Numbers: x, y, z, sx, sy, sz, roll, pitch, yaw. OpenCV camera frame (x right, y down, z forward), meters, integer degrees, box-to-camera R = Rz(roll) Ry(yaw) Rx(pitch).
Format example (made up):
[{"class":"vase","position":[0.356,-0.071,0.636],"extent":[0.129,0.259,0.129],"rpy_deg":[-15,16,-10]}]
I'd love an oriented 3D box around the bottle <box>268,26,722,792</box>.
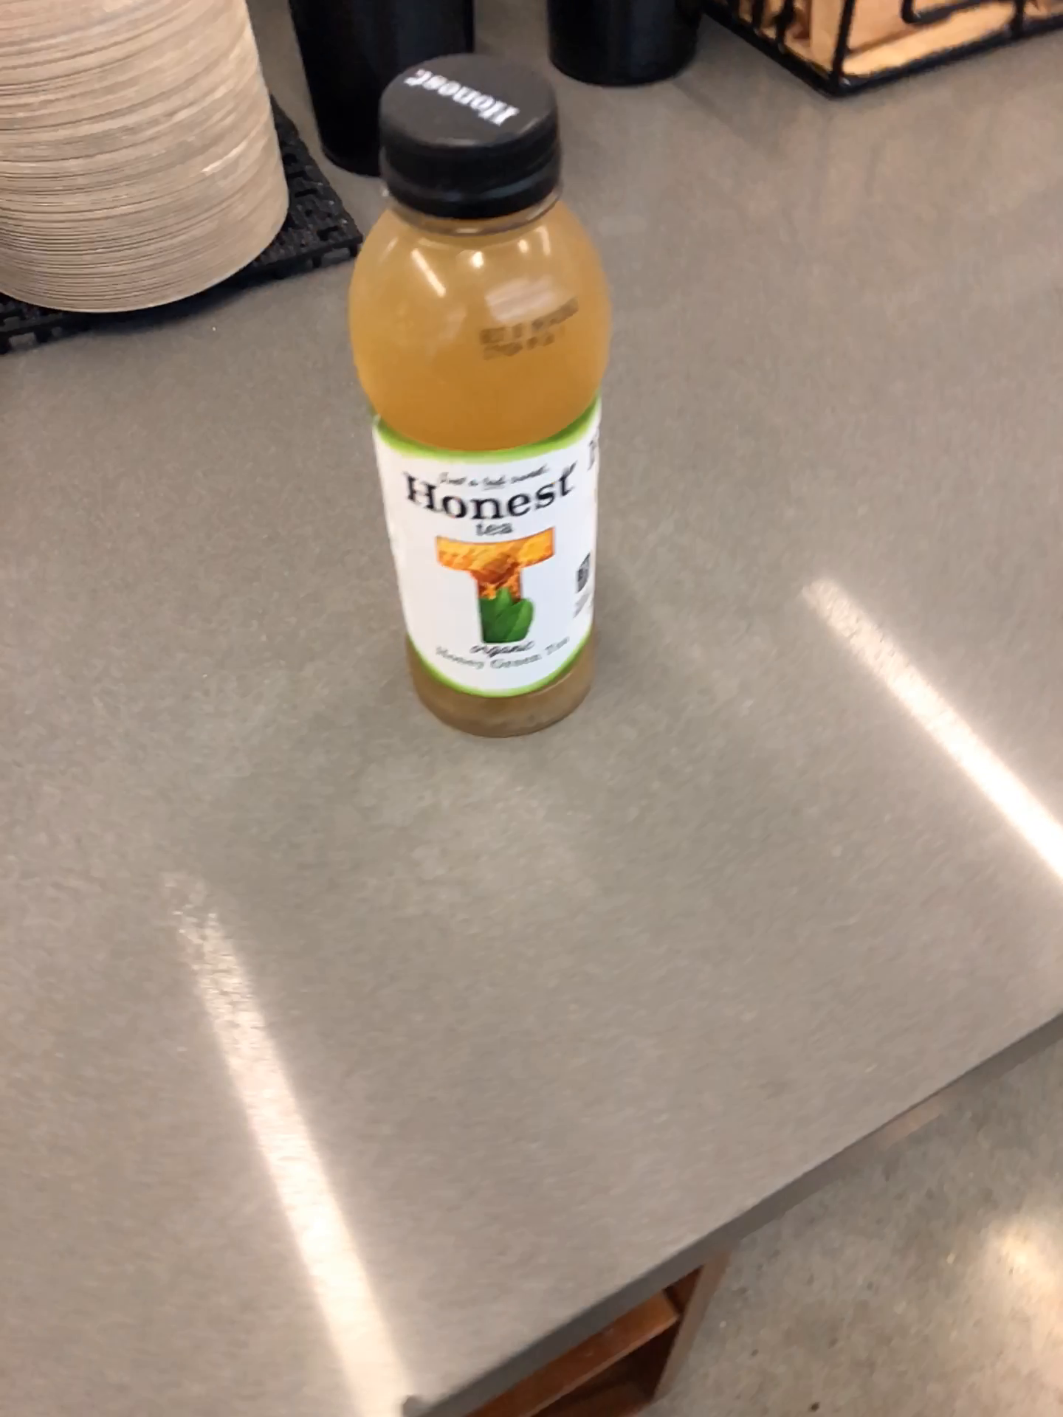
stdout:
[{"class":"bottle","position":[-0.010,-0.071,0.339],"extent":[0.090,0.189,0.090],"rpy_deg":[-1,53,1]}]
